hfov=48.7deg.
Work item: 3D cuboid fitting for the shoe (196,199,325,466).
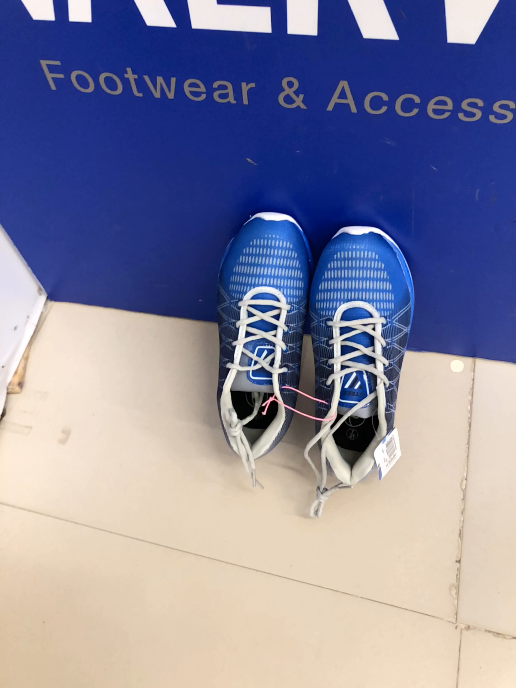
[{"bbox_3d":[0.003,-0.017,0.635,0.110,0.269,0.100,6,17,8],"label":"shoe"}]

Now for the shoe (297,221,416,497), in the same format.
[{"bbox_3d":[0.105,0.007,0.616,0.100,0.120,0.269,4,101,12],"label":"shoe"}]
